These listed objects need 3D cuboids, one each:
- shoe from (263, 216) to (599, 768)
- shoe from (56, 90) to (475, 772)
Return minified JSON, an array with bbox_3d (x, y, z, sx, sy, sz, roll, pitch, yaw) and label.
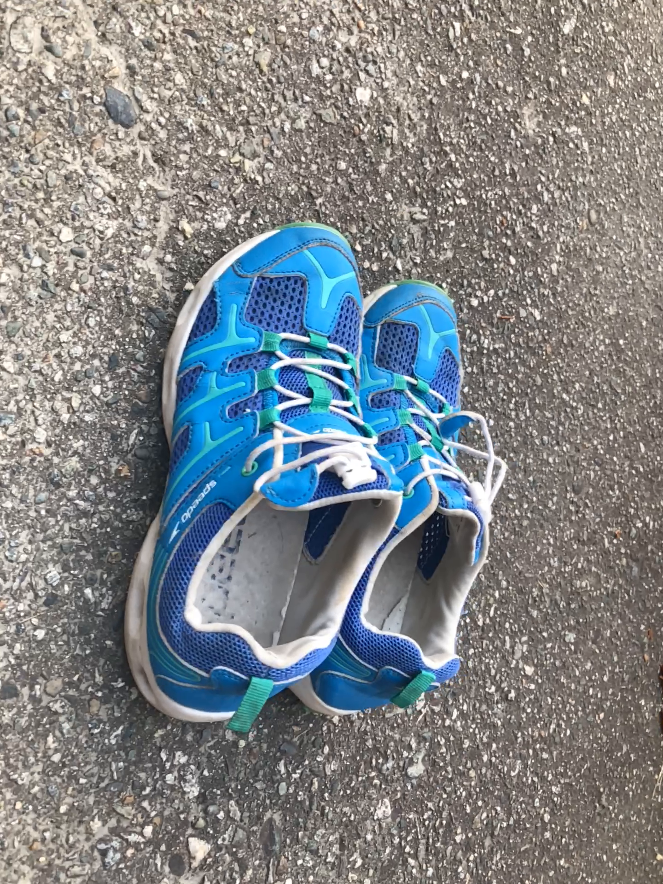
[{"bbox_3d":[0.058,0.027,0.388,0.100,0.090,0.250,21,75,-38],"label":"shoe"},{"bbox_3d":[-0.024,-0.001,0.332,0.100,0.090,0.260,21,75,-38],"label":"shoe"}]
